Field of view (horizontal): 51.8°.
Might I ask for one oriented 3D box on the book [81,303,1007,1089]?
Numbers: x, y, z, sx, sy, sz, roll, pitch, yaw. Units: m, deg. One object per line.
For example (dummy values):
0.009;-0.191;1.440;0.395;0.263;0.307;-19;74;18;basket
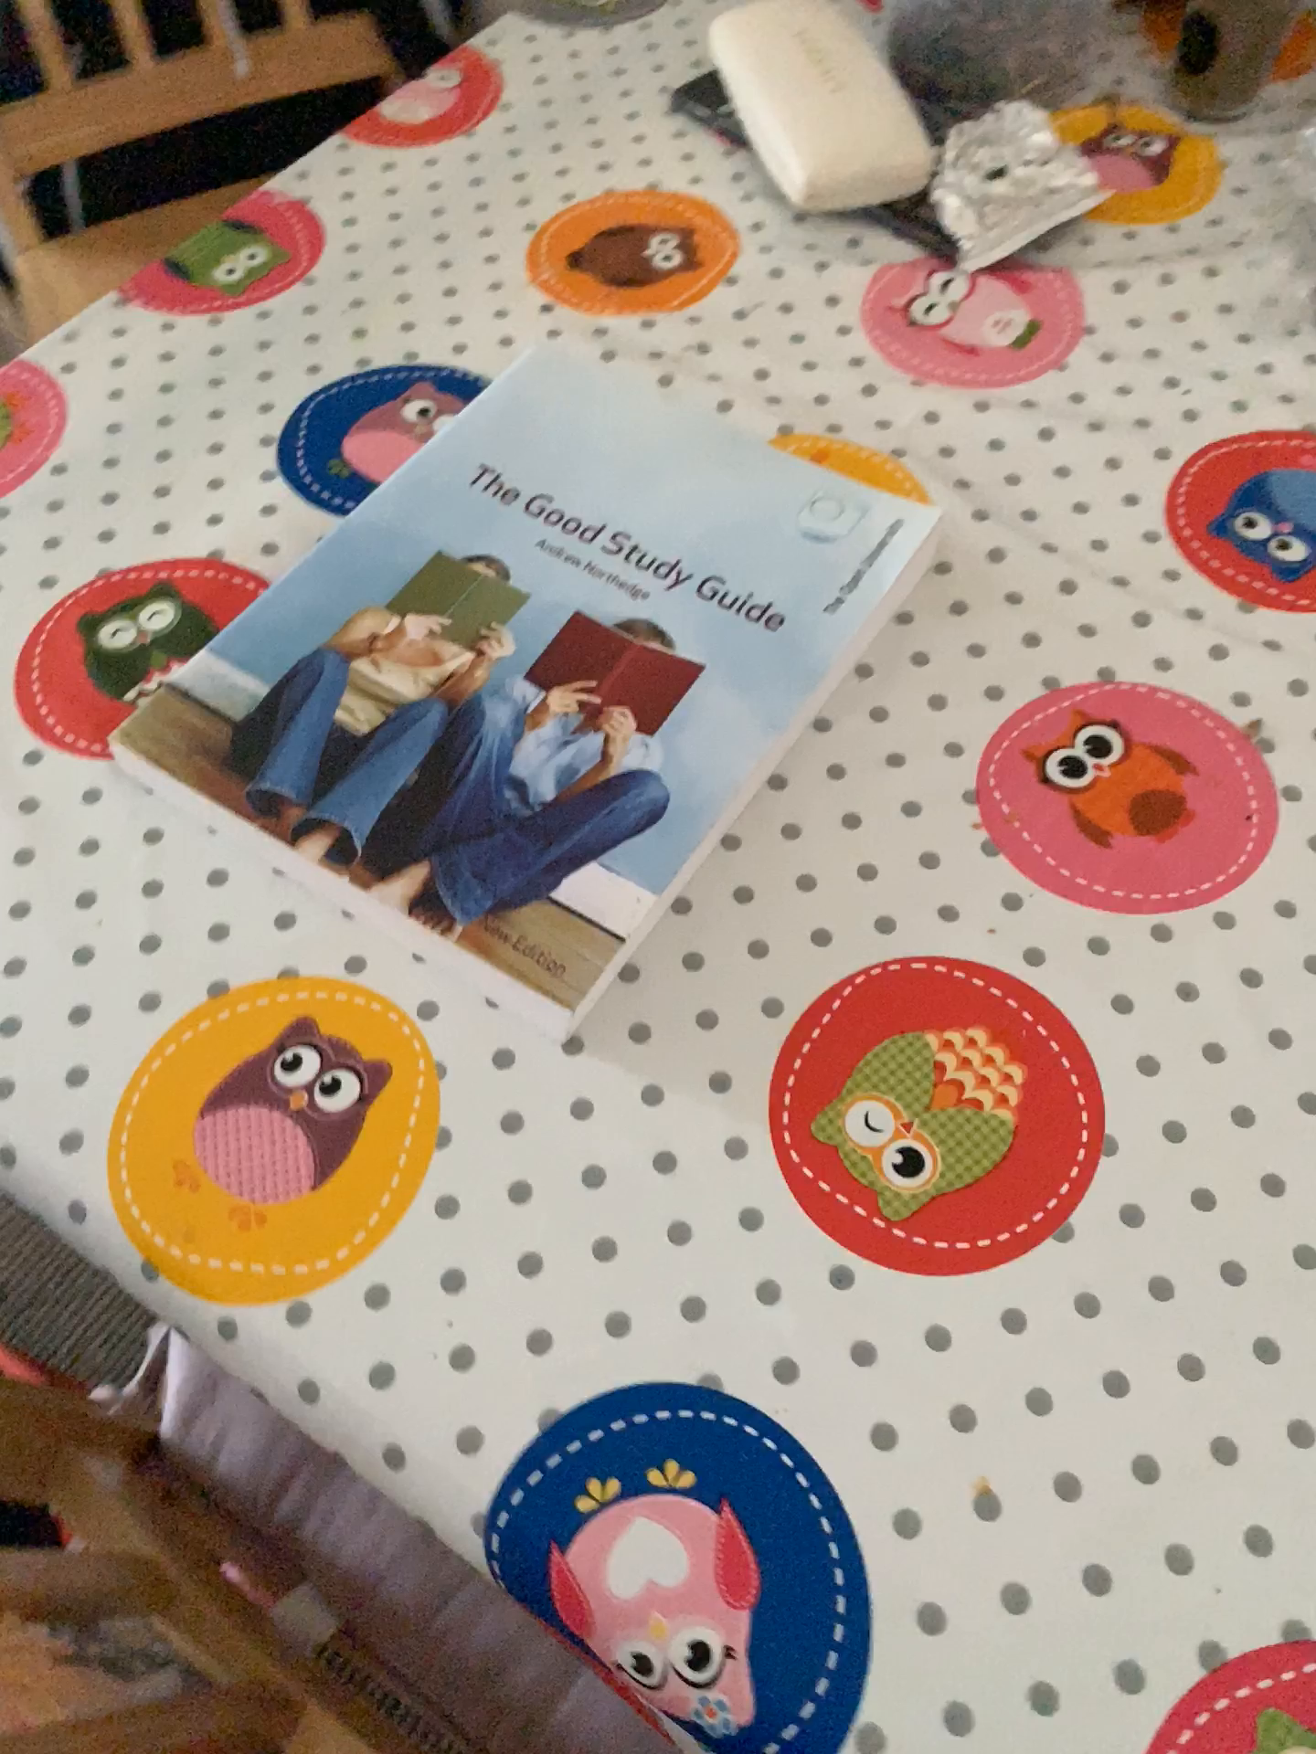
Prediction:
-0.032;-0.086;0.486;0.211;0.030;0.261;29;64;17;book
